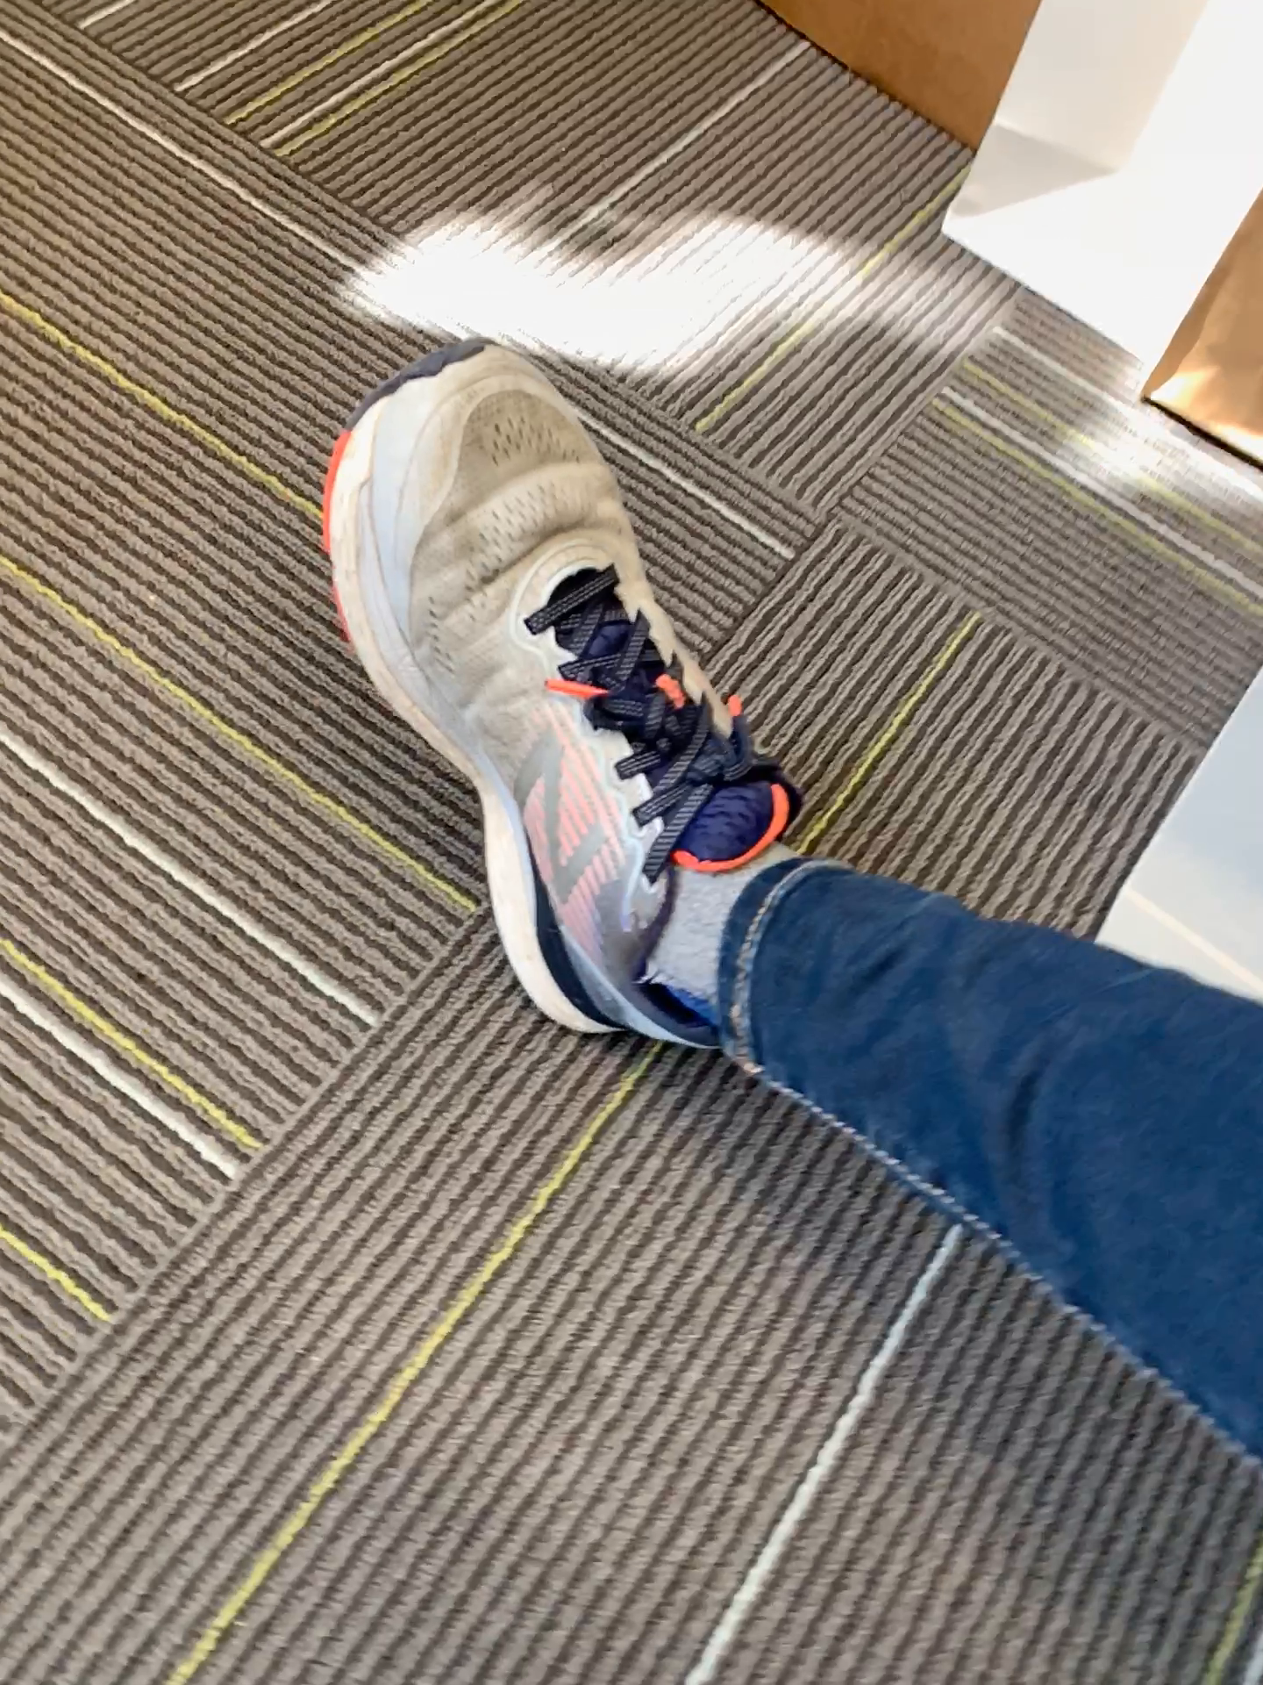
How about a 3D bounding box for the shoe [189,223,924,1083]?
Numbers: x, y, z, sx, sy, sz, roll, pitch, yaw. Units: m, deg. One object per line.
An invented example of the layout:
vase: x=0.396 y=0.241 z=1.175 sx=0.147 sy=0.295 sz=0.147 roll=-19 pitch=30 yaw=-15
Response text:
shoe: x=-0.020 y=-0.057 z=0.440 sx=0.120 sy=0.110 sz=0.230 roll=-38 pitch=113 yaw=-23
